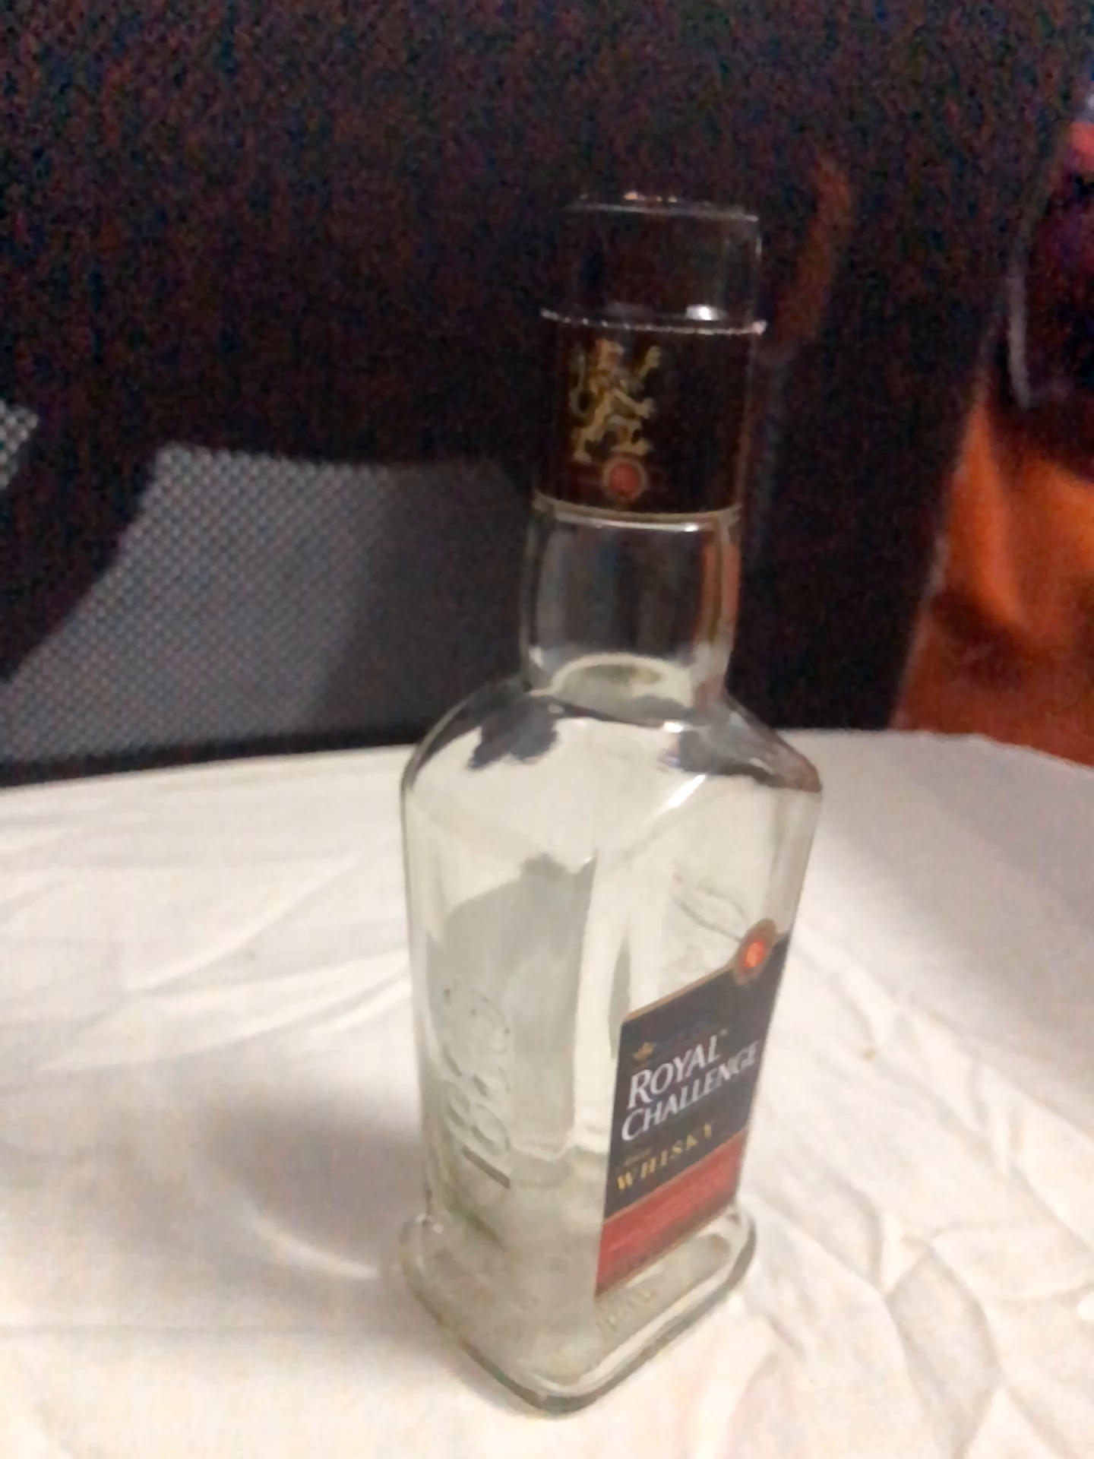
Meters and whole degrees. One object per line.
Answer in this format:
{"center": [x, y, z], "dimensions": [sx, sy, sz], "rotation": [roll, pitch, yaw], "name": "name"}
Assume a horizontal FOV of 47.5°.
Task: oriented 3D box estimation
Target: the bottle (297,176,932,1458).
{"center": [0.003, 0.022, 0.204], "dimensions": [0.070, 0.199, 0.050], "rotation": [-16, 30, -41], "name": "bottle"}
